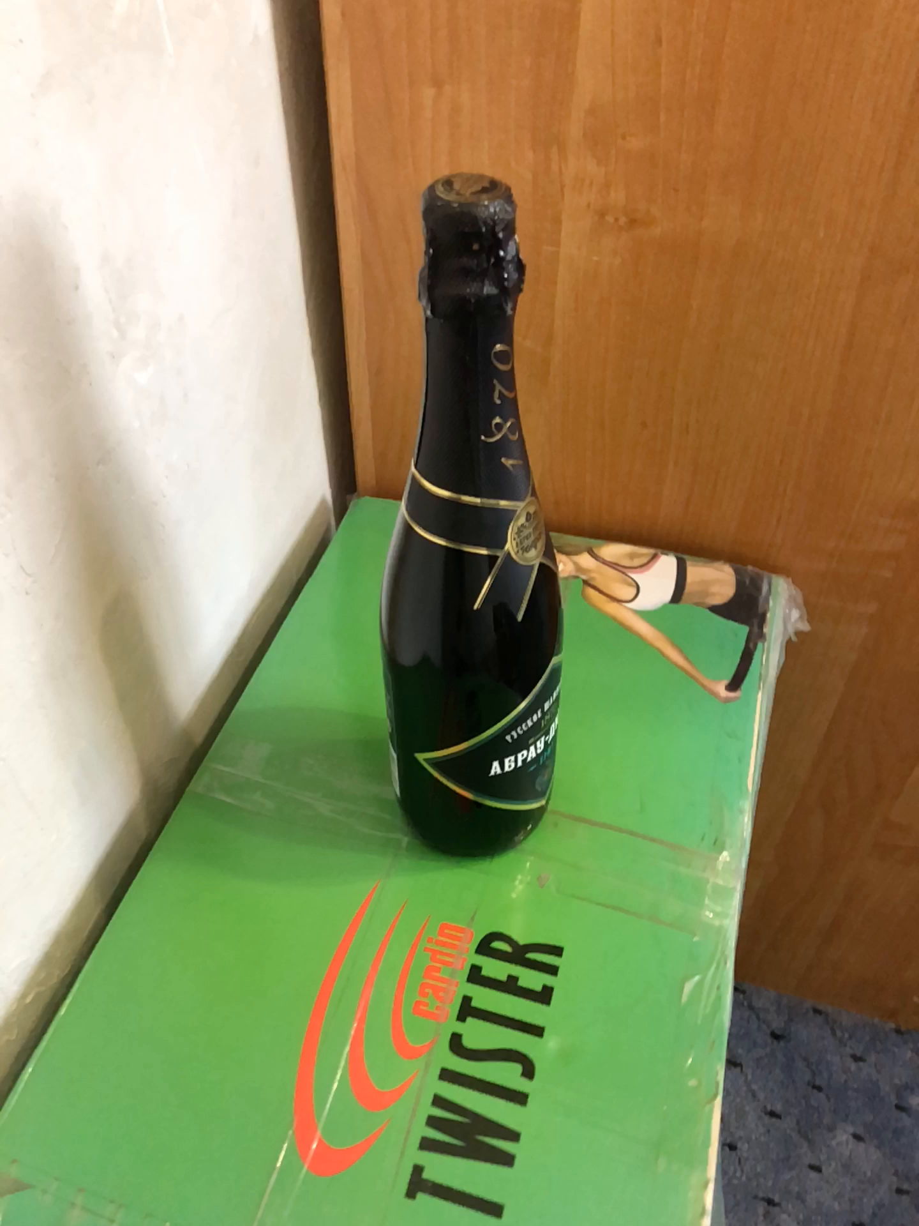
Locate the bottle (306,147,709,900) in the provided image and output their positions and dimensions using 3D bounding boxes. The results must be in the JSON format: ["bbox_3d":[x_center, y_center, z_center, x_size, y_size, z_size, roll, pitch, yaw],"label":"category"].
[{"bbox_3d":[0.017,-0.015,0.421,0.090,0.300,0.090,0,45,0],"label":"bottle"}]
